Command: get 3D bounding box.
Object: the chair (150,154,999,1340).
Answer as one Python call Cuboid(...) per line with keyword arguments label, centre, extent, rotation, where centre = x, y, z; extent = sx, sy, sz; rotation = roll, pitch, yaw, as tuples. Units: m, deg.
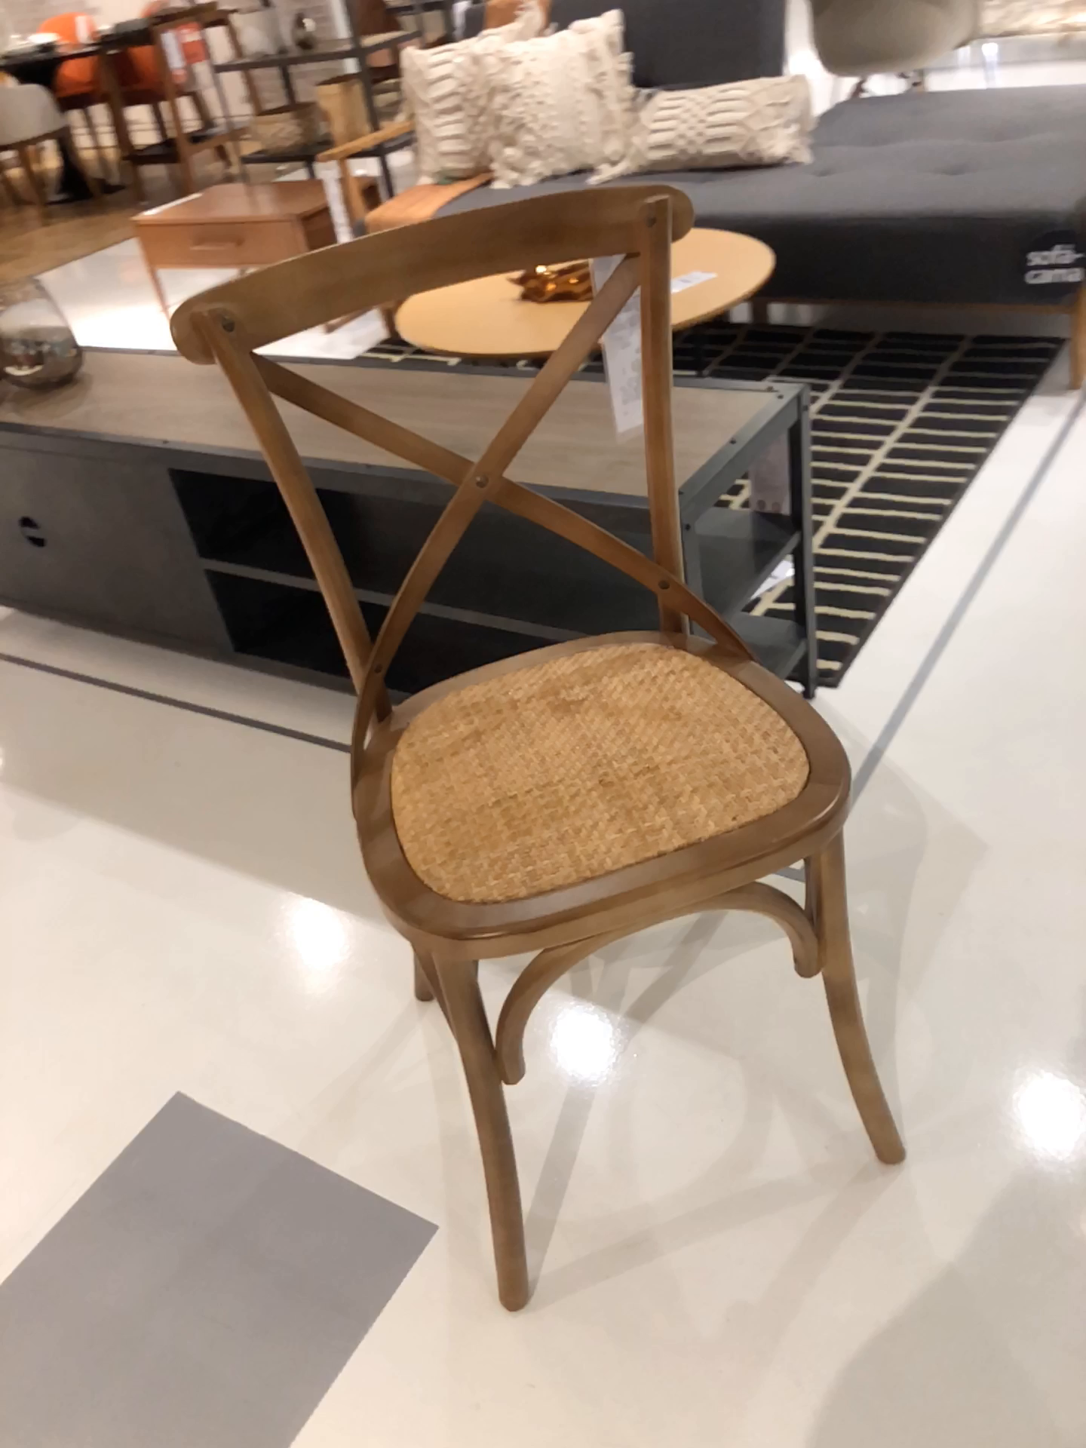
Cuboid(label="chair", centre=(0.025, 0.009, 1.154), extent=(0.500, 0.863, 0.574), rotation=(-17, 35, -8))
